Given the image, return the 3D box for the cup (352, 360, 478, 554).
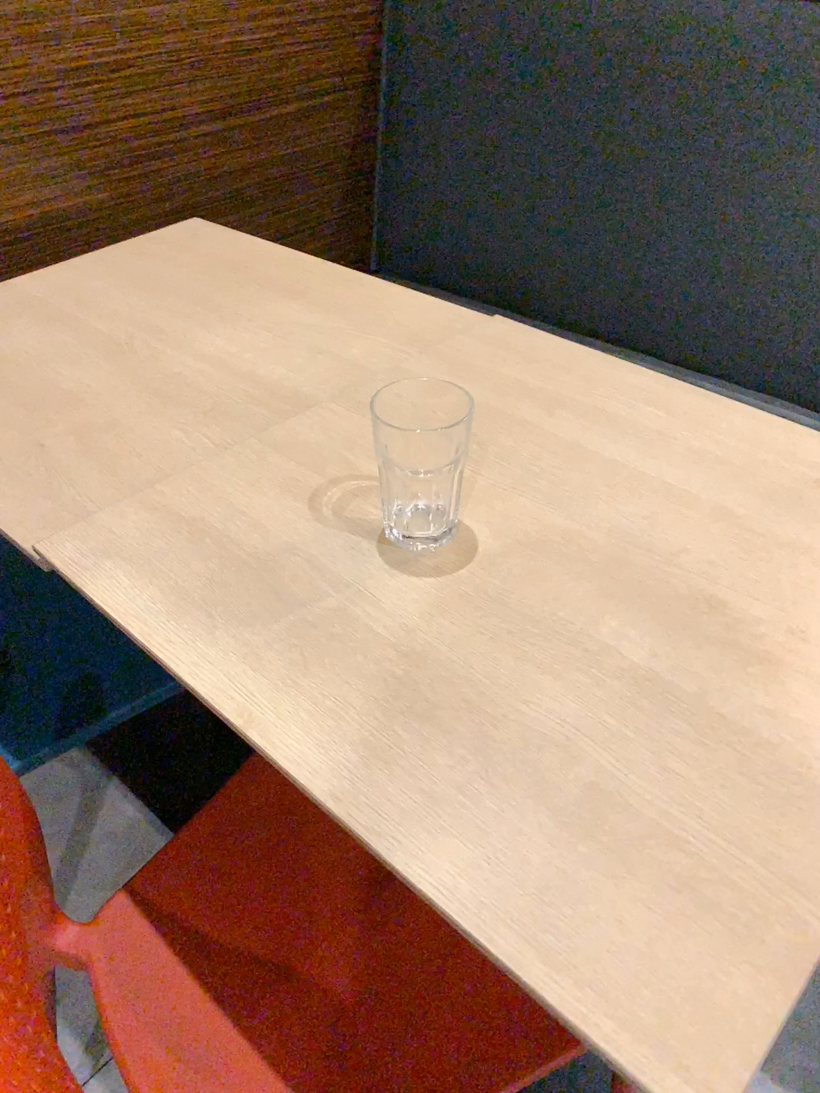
[{"bbox_3d":[0.006,-0.070,0.652,0.080,0.119,0.080,0,38,0],"label":"cup"}]
